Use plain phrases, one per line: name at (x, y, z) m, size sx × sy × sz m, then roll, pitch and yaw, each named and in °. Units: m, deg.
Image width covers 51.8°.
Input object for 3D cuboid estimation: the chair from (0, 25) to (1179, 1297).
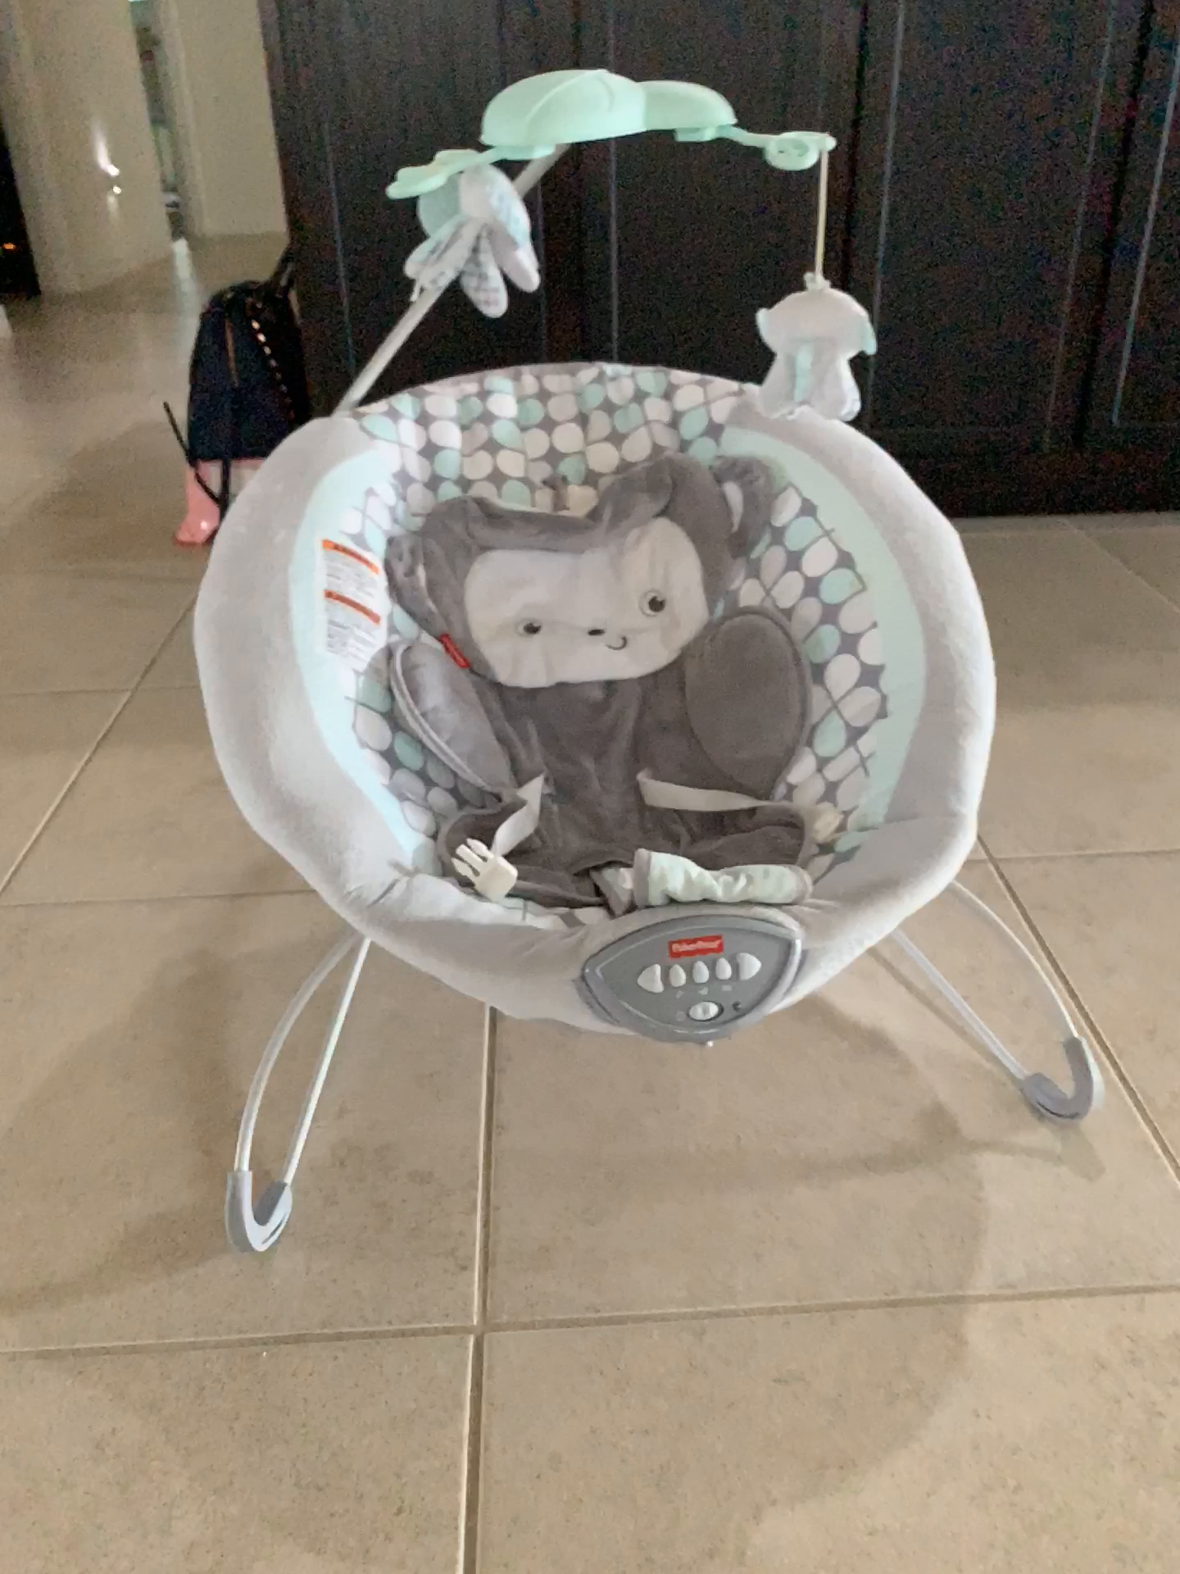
chair at (0.020, -0.133, 0.794) m, size 0.571 × 0.578 × 0.549 m, roll -5°, pitch 29°, yaw -6°
